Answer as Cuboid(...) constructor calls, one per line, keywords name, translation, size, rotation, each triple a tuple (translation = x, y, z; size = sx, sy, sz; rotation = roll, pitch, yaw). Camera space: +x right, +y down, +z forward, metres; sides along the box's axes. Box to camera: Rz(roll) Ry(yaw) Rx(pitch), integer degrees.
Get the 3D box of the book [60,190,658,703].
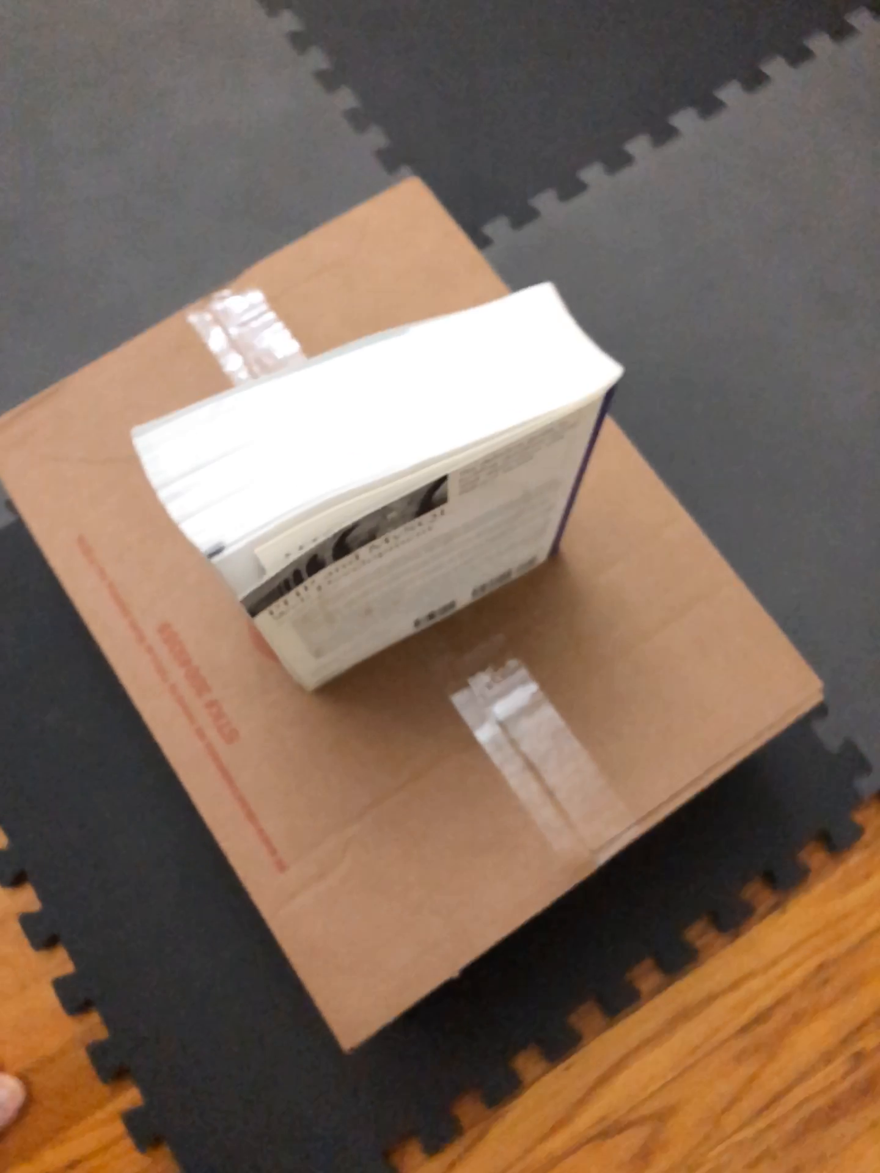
Cuboid(name="book", translation=(-0.029, -0.042, 0.482), size=(0.200, 0.260, 0.090), rotation=(-19, 73, -5))
